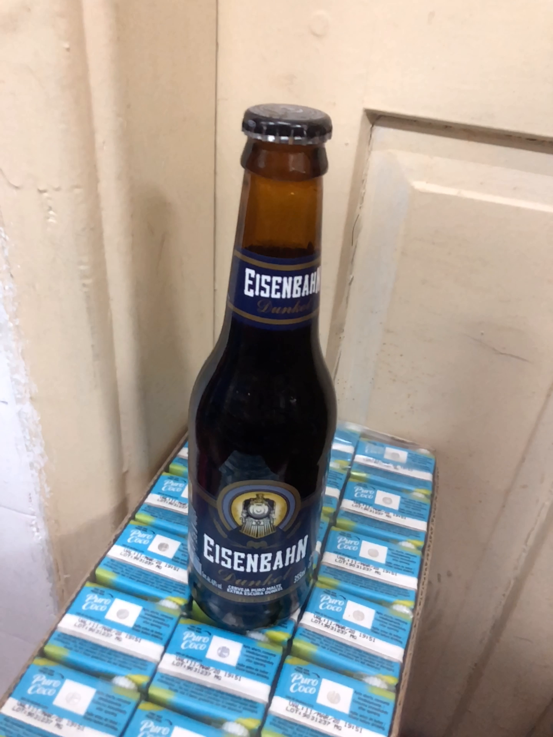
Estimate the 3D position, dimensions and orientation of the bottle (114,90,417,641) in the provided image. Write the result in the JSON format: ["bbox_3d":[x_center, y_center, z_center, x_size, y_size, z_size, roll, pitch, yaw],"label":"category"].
[{"bbox_3d":[-0.009,0.014,0.223,0.070,0.198,0.060,3,35,-3],"label":"bottle"}]
